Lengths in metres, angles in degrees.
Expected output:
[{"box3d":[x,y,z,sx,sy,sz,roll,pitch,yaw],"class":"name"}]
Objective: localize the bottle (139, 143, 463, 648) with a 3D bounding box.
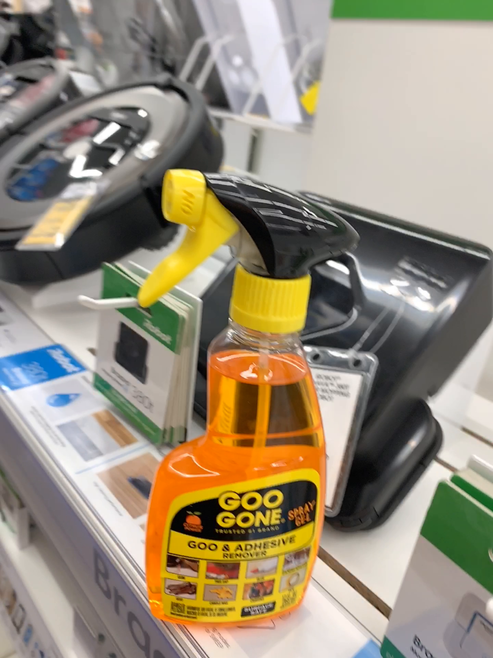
[{"box3d":[0.006,0.043,0.234,0.100,0.226,0.050,2,26,-13],"class":"bottle"}]
